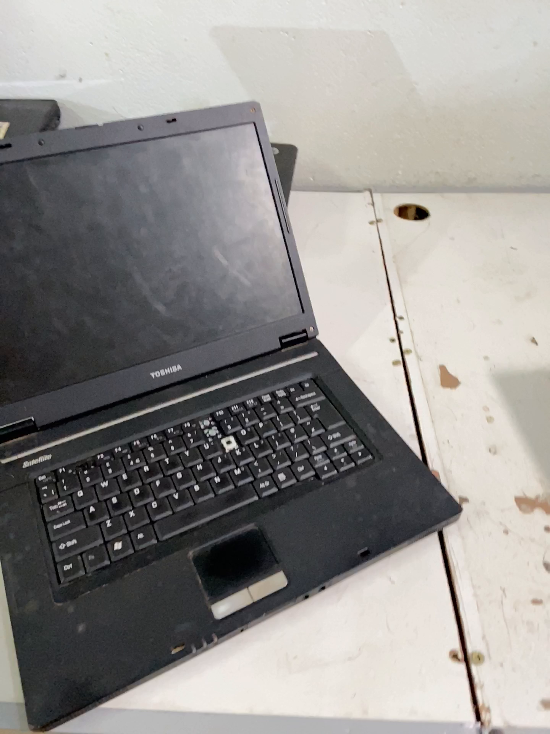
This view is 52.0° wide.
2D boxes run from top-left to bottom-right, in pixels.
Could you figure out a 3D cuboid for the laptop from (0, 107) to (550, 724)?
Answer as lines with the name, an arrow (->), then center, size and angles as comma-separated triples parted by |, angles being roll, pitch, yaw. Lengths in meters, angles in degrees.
laptop -> -0.082, -0.023, 0.486 | 0.356, 0.212, 0.403 | -19, 46, -19
